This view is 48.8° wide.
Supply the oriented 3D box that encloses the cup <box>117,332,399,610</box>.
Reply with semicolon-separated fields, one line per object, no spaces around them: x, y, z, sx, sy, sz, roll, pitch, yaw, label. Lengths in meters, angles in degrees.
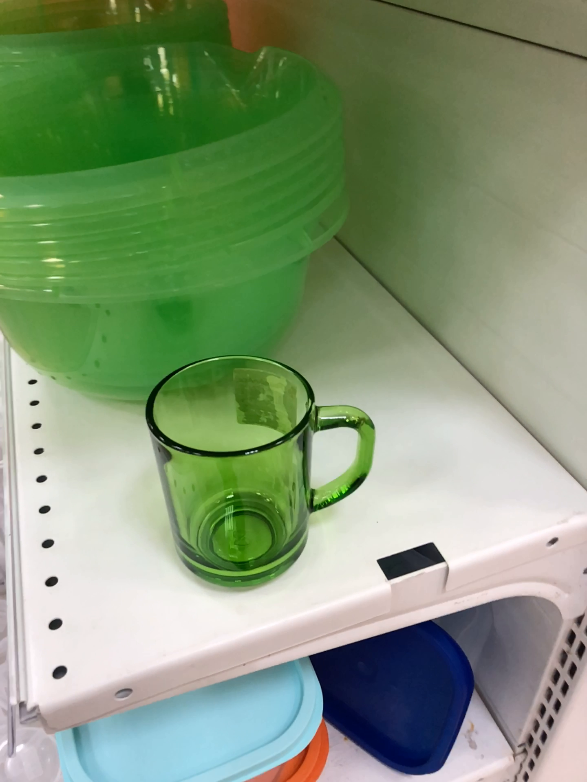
-0.017;0.035;0.302;0.110;0.086;0.073;-9;38;-7;cup
